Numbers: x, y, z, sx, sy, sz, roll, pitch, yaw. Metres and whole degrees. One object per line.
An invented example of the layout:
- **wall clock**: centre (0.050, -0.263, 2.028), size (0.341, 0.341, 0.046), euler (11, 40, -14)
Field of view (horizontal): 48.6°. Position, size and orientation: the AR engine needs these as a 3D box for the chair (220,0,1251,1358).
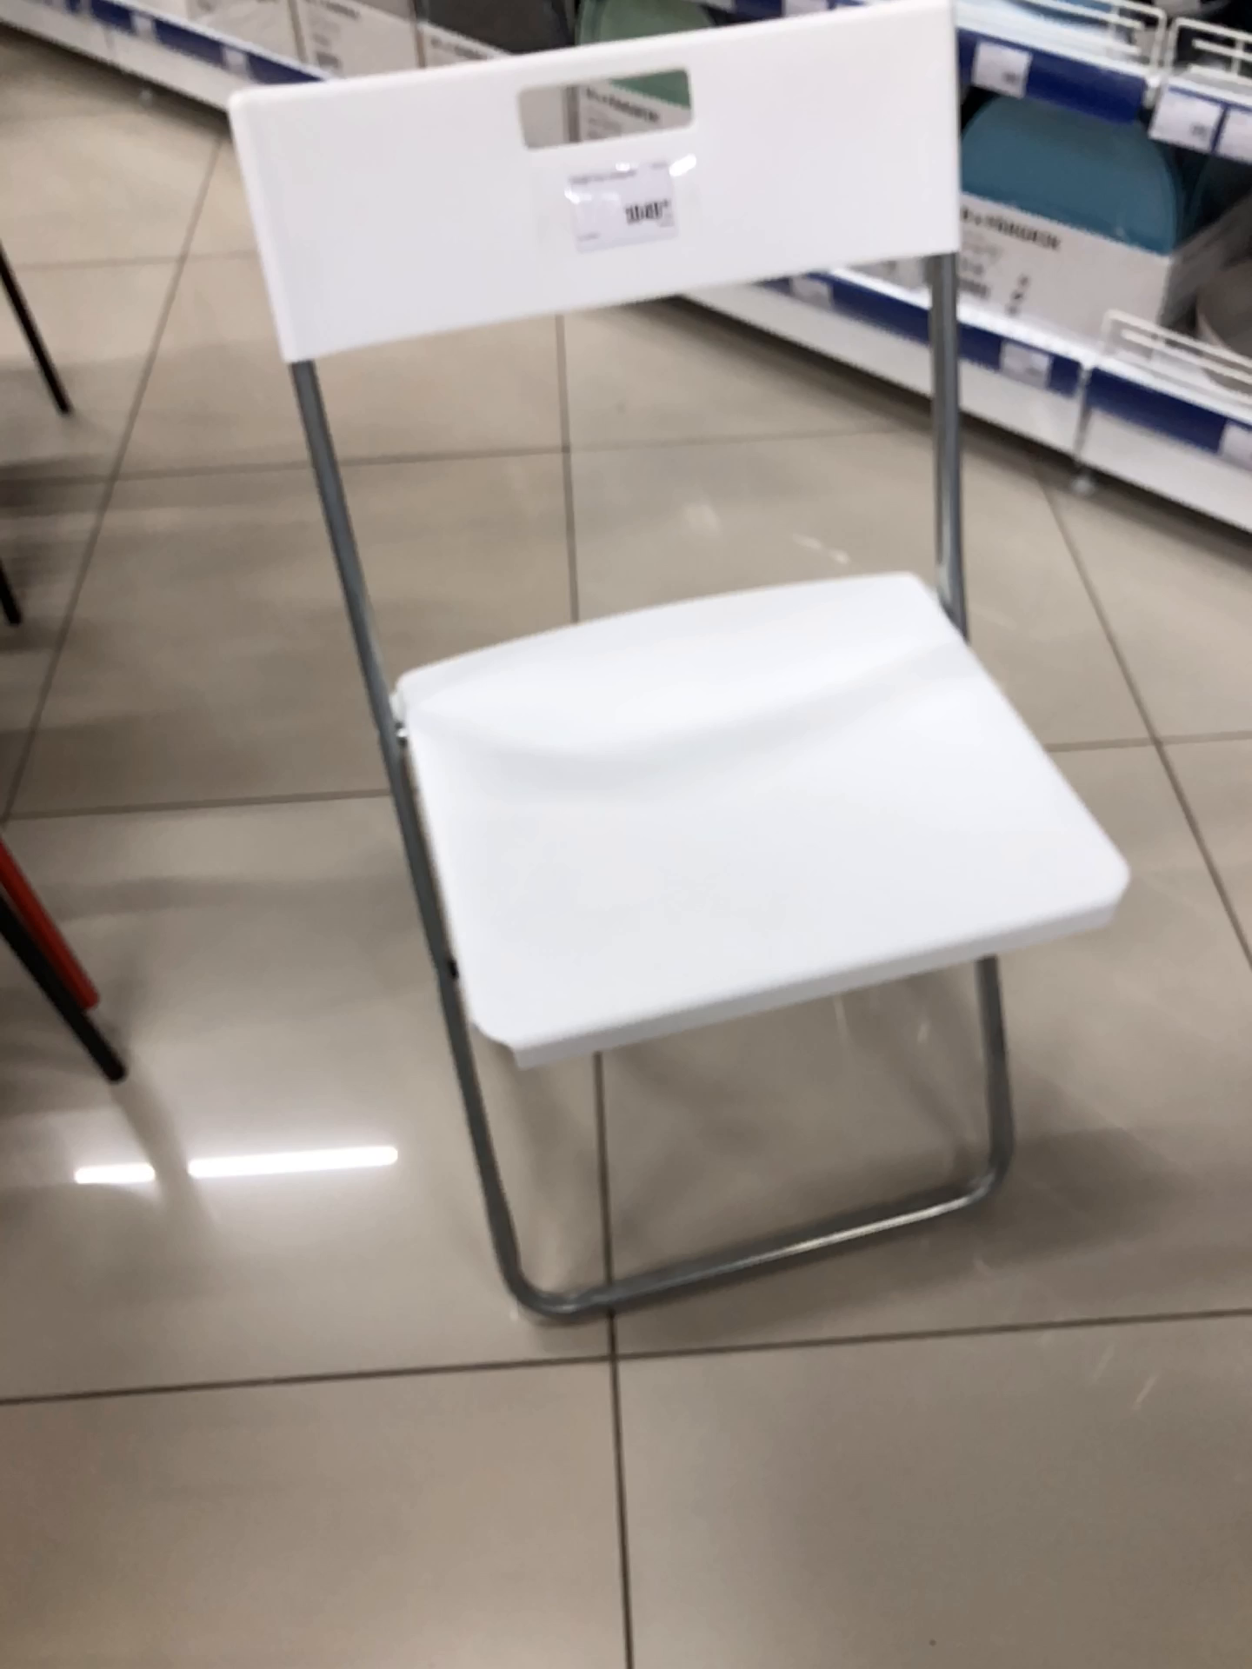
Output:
- **chair**: centre (0.054, -0.058, 0.903), size (0.425, 0.711, 0.433), euler (-12, 49, -8)
